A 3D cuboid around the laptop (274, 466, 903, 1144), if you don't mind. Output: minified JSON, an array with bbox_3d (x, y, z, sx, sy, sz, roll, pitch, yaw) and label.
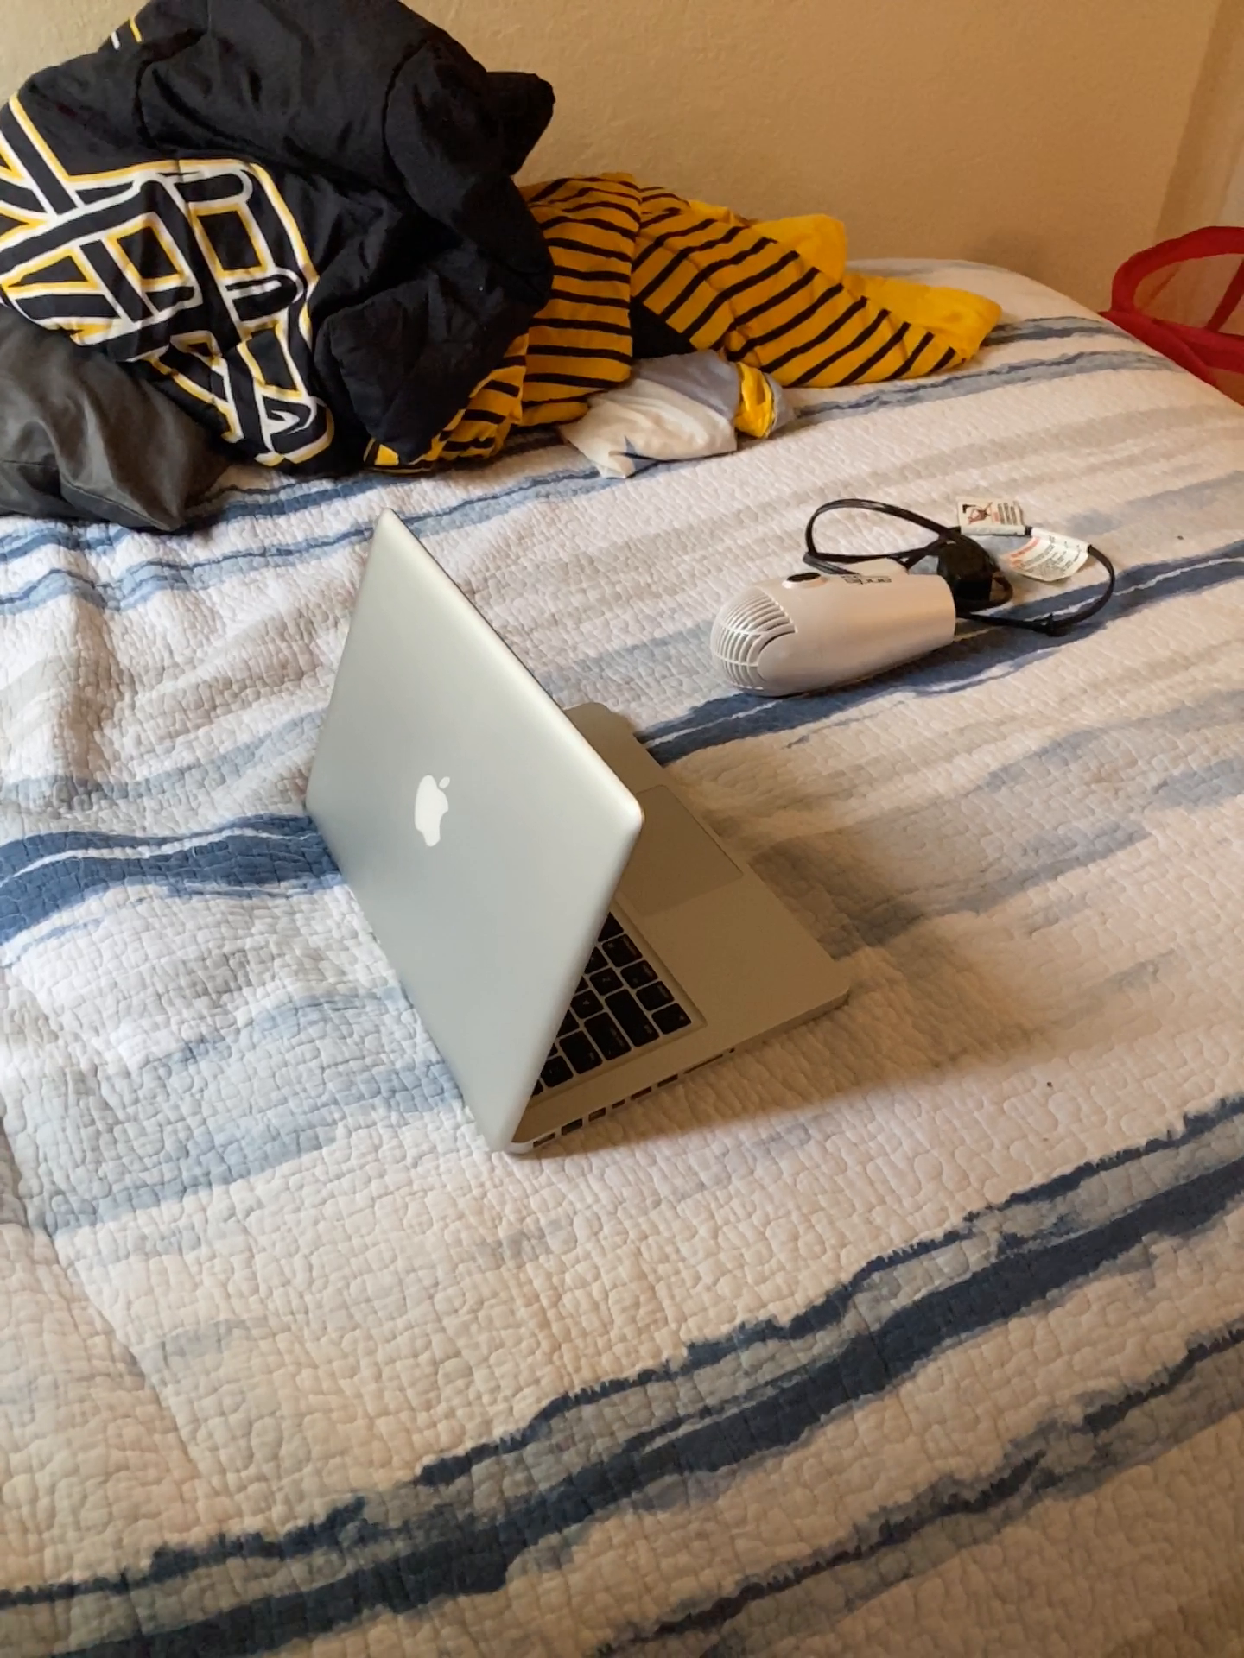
[{"bbox_3d":[-0.034,-0.032,0.726,0.214,0.188,0.302,-20,47,-19],"label":"laptop"}]
